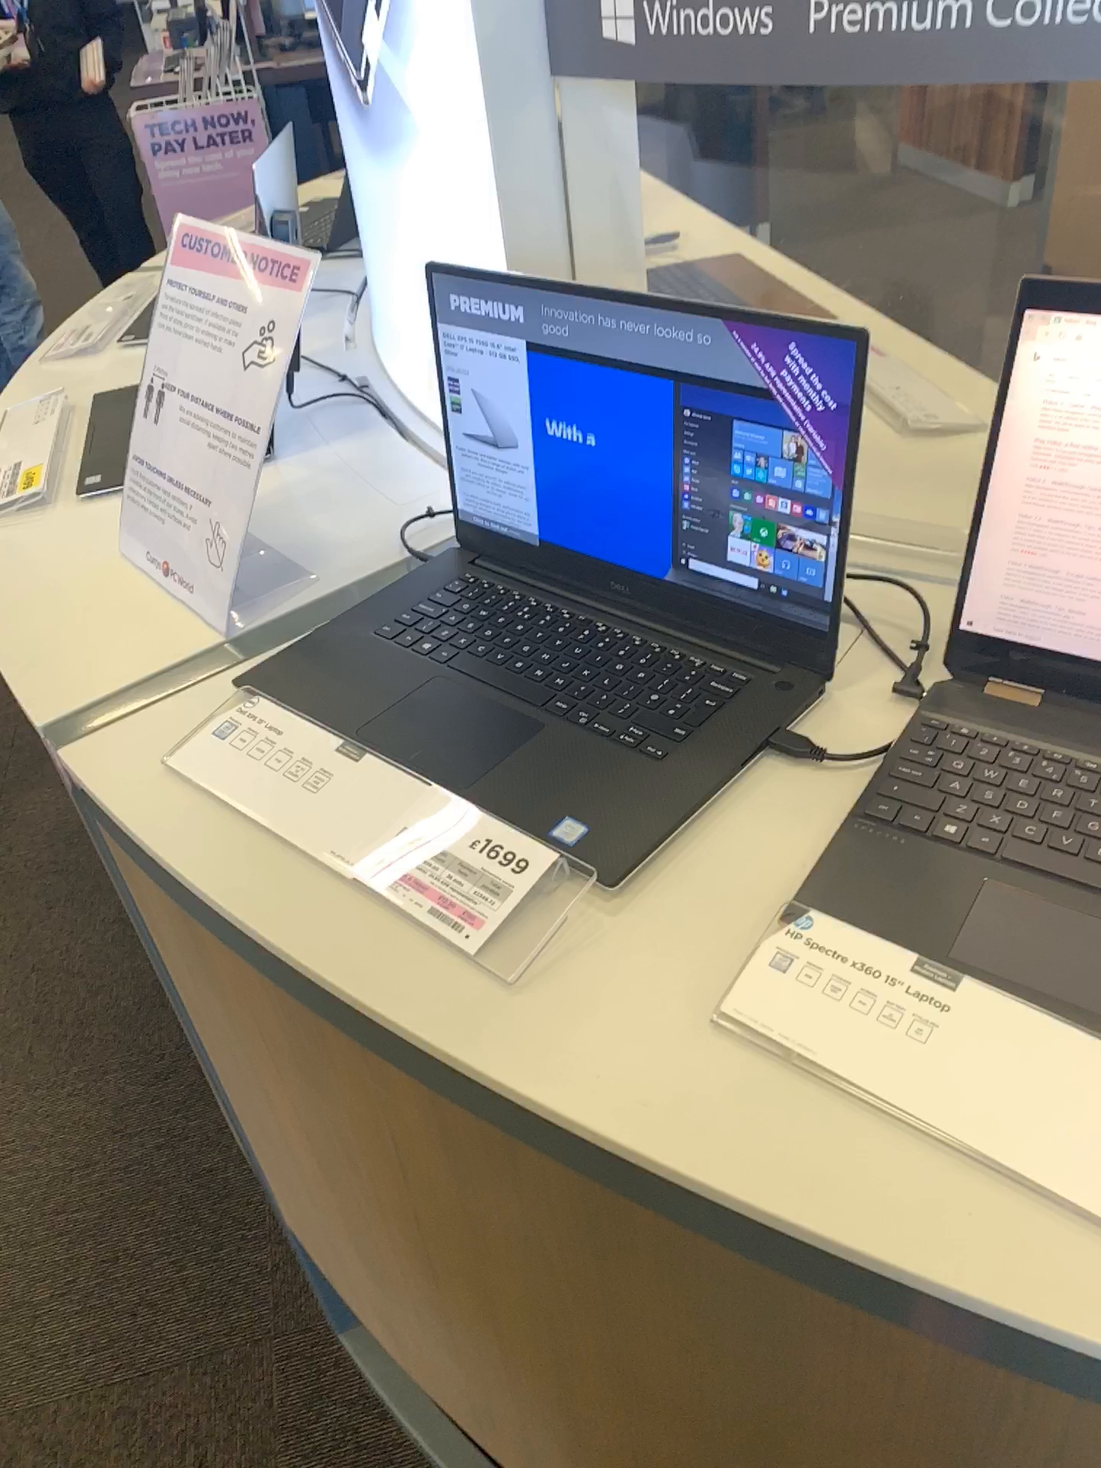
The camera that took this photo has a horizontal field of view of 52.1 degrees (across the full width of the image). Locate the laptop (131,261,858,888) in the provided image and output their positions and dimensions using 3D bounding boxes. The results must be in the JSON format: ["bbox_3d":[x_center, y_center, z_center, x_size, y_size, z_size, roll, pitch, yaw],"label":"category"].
[{"bbox_3d":[-0.029,-0.131,0.720,0.352,0.224,0.254,24,47,35],"label":"laptop"}]
